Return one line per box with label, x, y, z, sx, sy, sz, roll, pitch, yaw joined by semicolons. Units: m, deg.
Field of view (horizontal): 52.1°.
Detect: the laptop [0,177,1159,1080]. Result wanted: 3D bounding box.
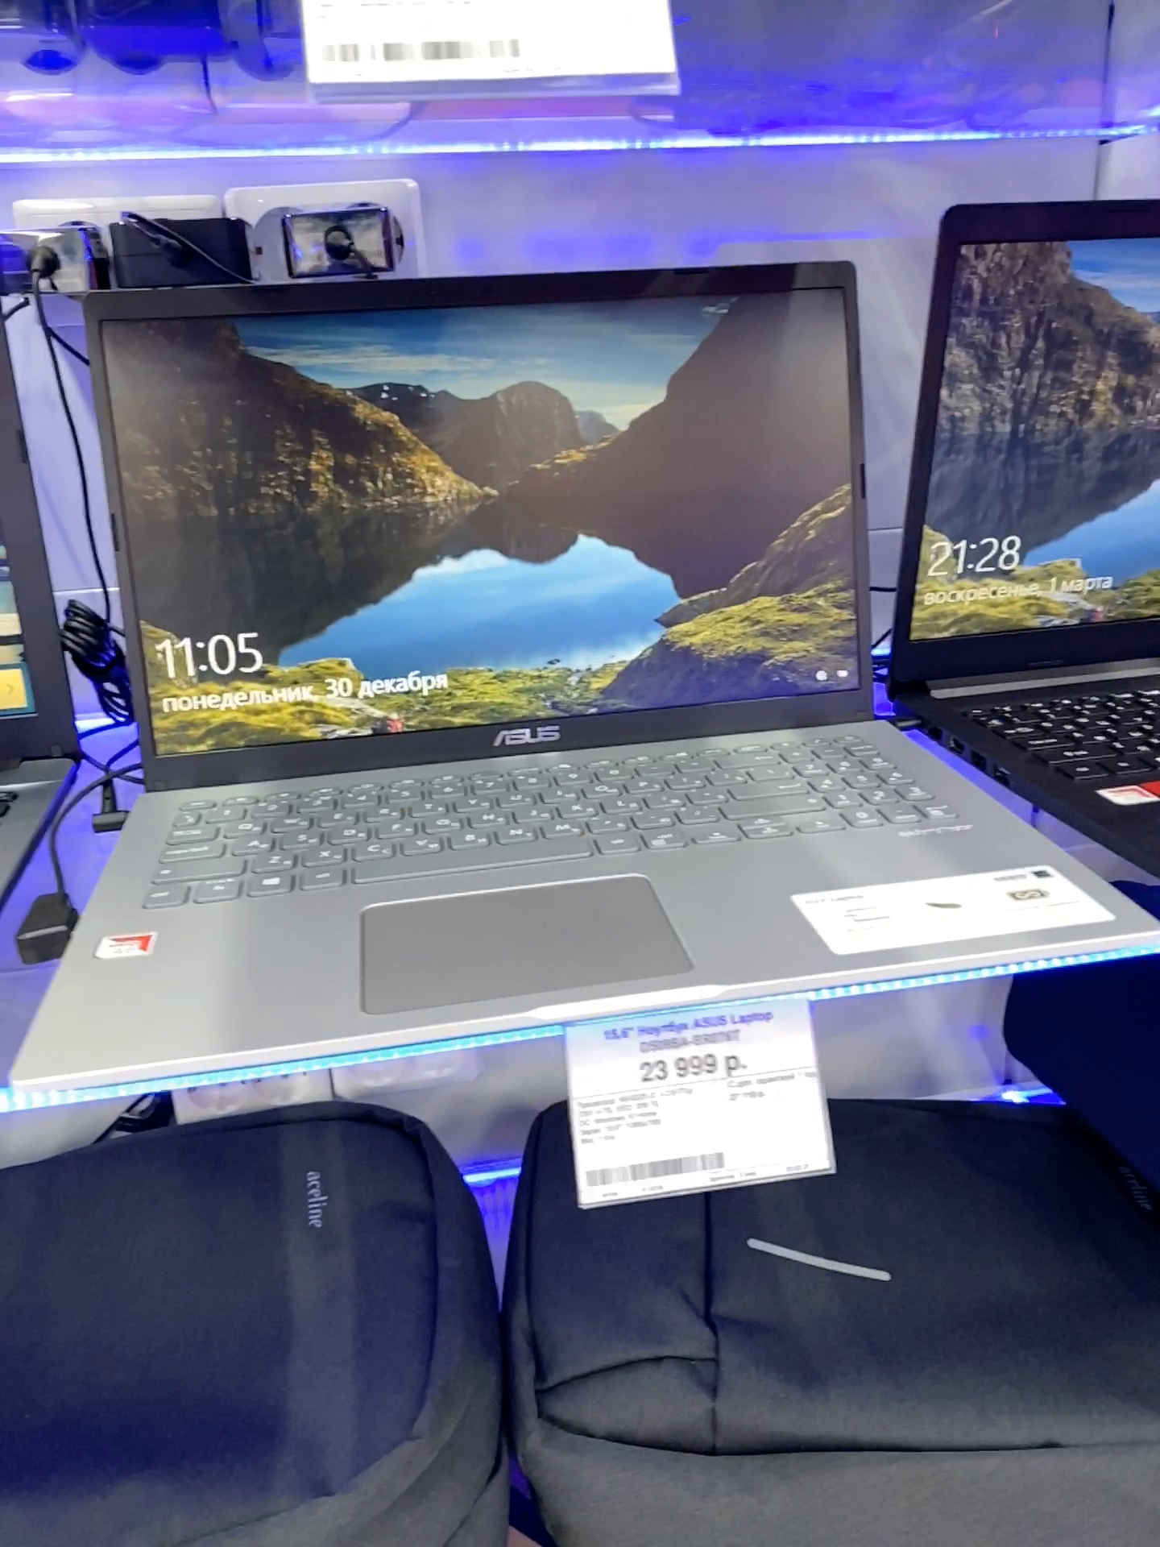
laptop;-0.011;-0.081;0.452;0.360;0.216;0.286;-6;20;-8
